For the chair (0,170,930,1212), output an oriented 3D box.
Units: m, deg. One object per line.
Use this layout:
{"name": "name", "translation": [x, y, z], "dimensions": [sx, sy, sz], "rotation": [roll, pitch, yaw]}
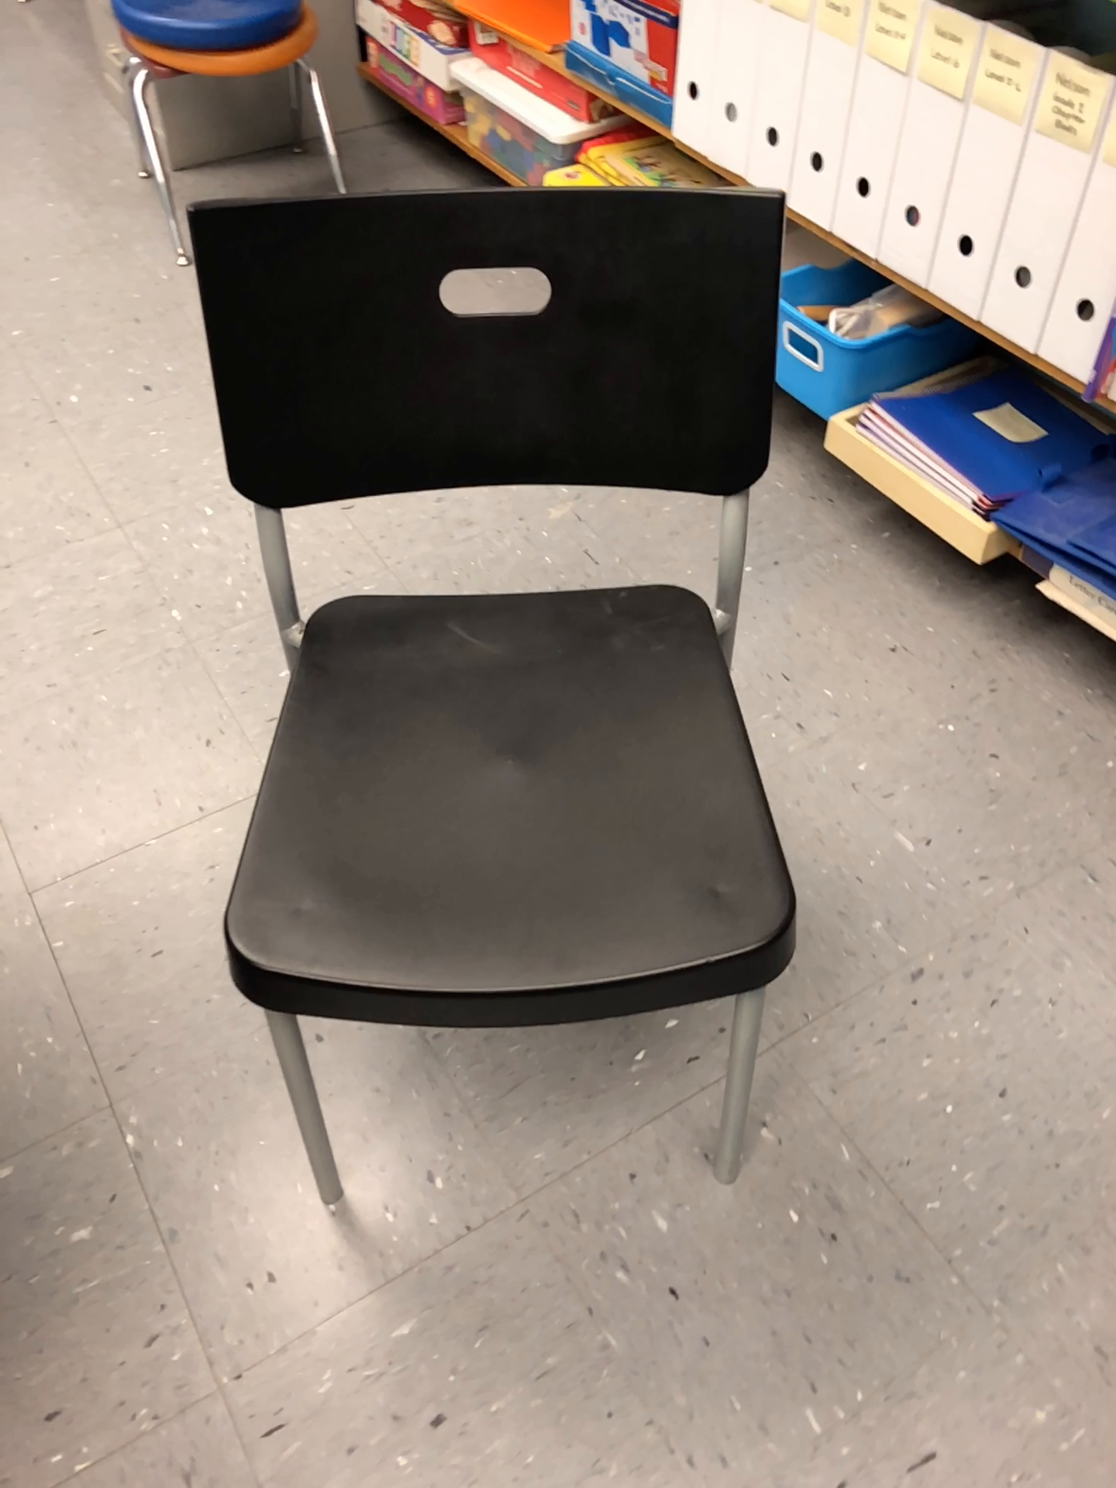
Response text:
{"name": "chair", "translation": [-0.049, 0.007, 1.053], "dimensions": [0.465, 0.777, 0.475], "rotation": [-2, 48, -1]}
